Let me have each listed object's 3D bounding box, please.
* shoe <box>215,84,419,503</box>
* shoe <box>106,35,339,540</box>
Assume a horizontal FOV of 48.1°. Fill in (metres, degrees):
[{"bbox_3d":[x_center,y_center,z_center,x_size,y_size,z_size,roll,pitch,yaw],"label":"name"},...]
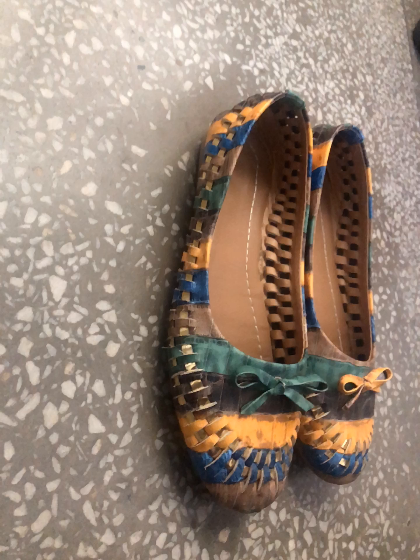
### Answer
[{"bbox_3d":[0.066,0.008,0.316,0.090,0.074,0.237,9,73,-39],"label":"shoe"},{"bbox_3d":[0.009,0.002,0.267,0.090,0.074,0.237,14,70,-38],"label":"shoe"}]
